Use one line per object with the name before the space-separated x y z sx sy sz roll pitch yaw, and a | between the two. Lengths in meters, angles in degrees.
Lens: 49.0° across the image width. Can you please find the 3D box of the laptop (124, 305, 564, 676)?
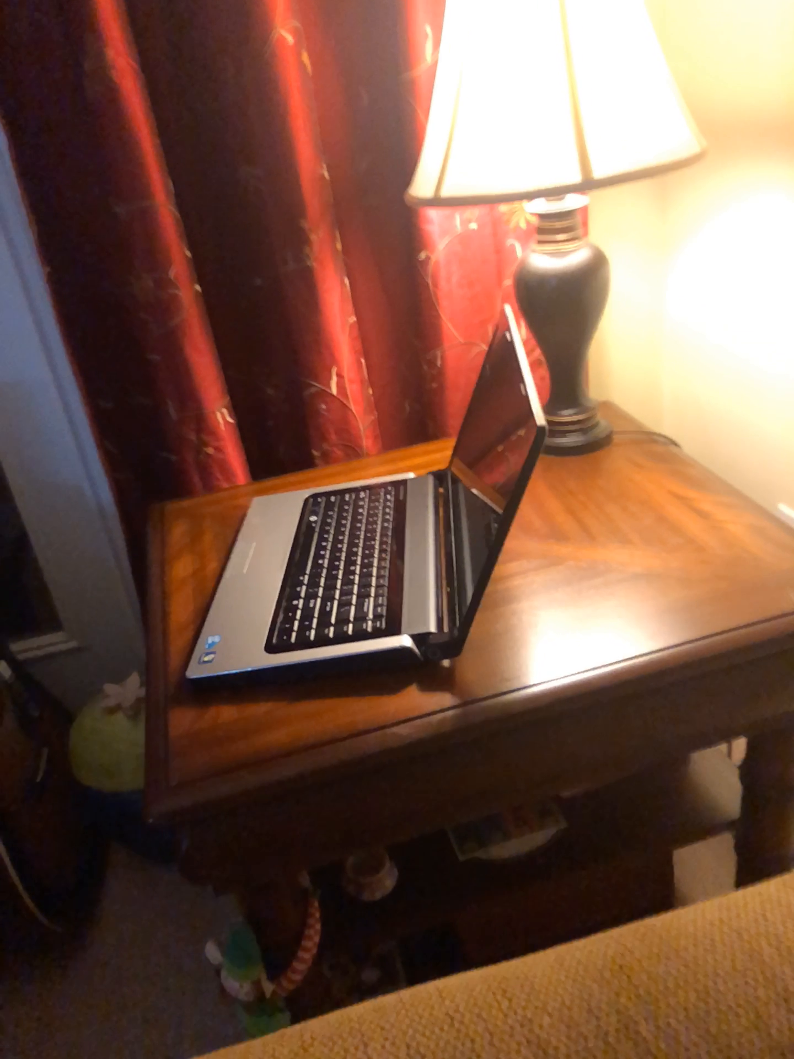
laptop | -0.032 -0.062 0.912 0.350 0.204 0.364 -6 29 5
